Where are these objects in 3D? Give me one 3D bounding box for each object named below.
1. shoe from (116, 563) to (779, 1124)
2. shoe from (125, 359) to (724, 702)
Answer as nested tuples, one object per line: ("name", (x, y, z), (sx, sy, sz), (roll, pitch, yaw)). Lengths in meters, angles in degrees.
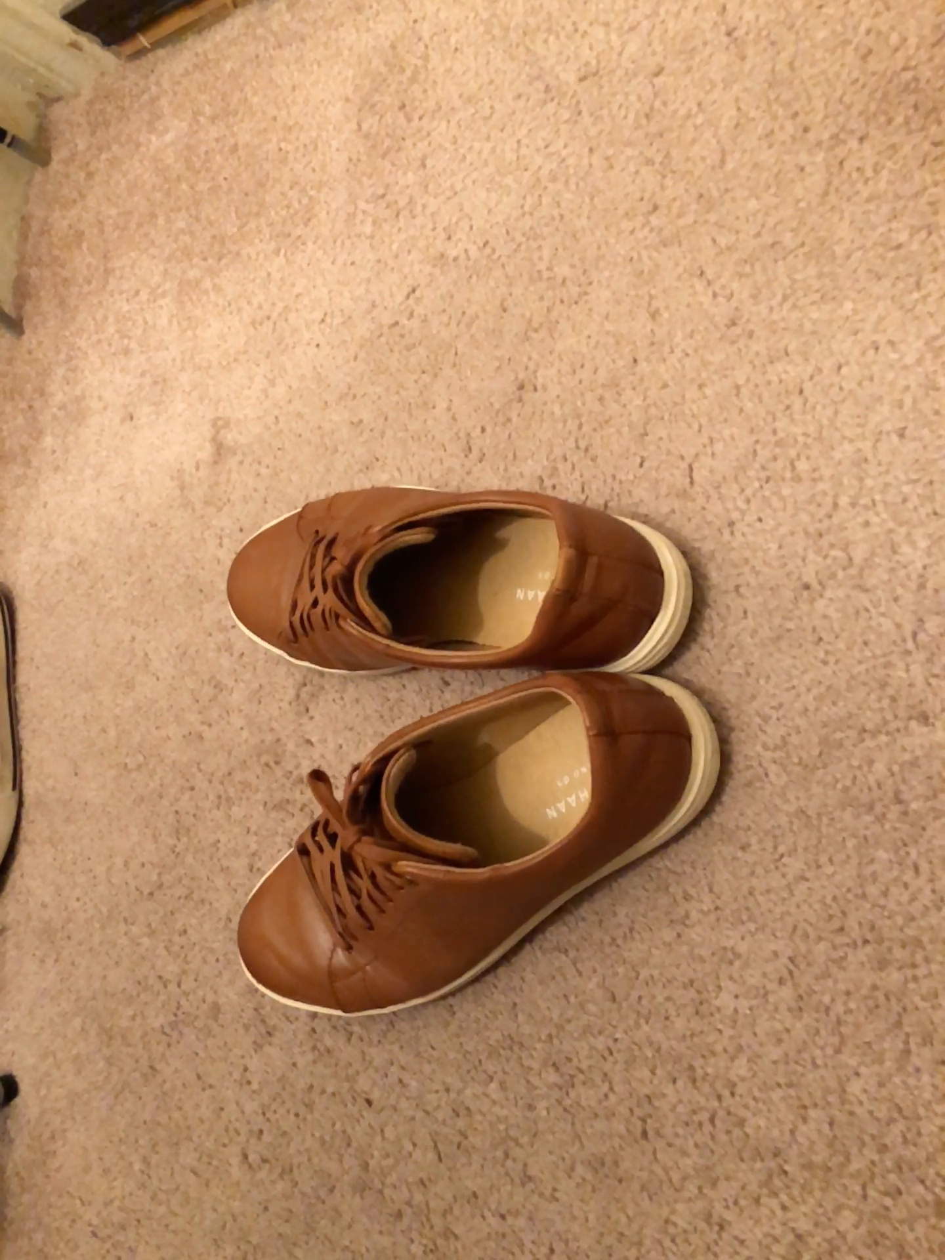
("shoe", (-0.028, 0.108, 0.471), (0.285, 0.100, 0.117), (-37, 60, 27))
("shoe", (-0.036, -0.032, 0.507), (0.286, 0.102, 0.117), (-2, 80, 39))
